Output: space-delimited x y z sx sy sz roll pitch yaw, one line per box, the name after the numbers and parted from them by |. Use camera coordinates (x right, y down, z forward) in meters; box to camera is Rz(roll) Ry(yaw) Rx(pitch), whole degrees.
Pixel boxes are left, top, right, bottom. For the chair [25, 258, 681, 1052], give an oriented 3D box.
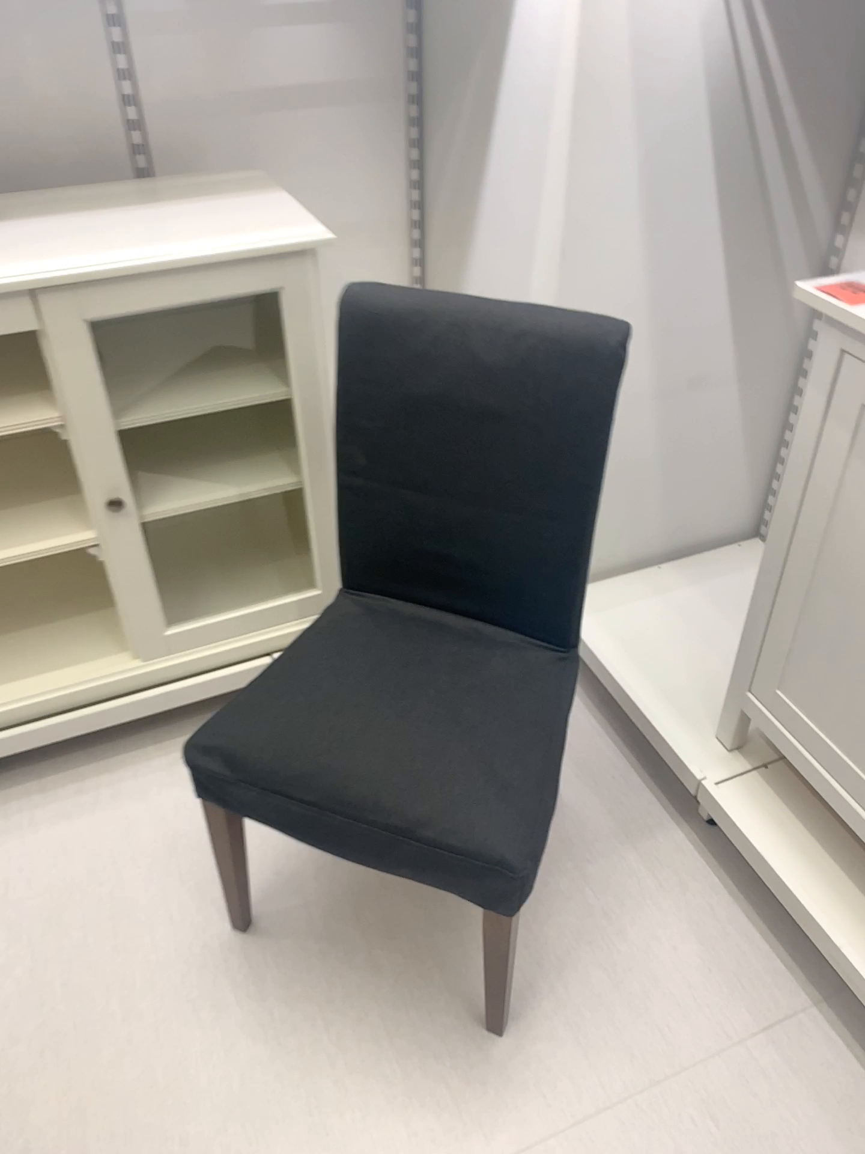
-0.036 0.089 1.283 0.540 0.837 0.612 14 40 18 | chair
